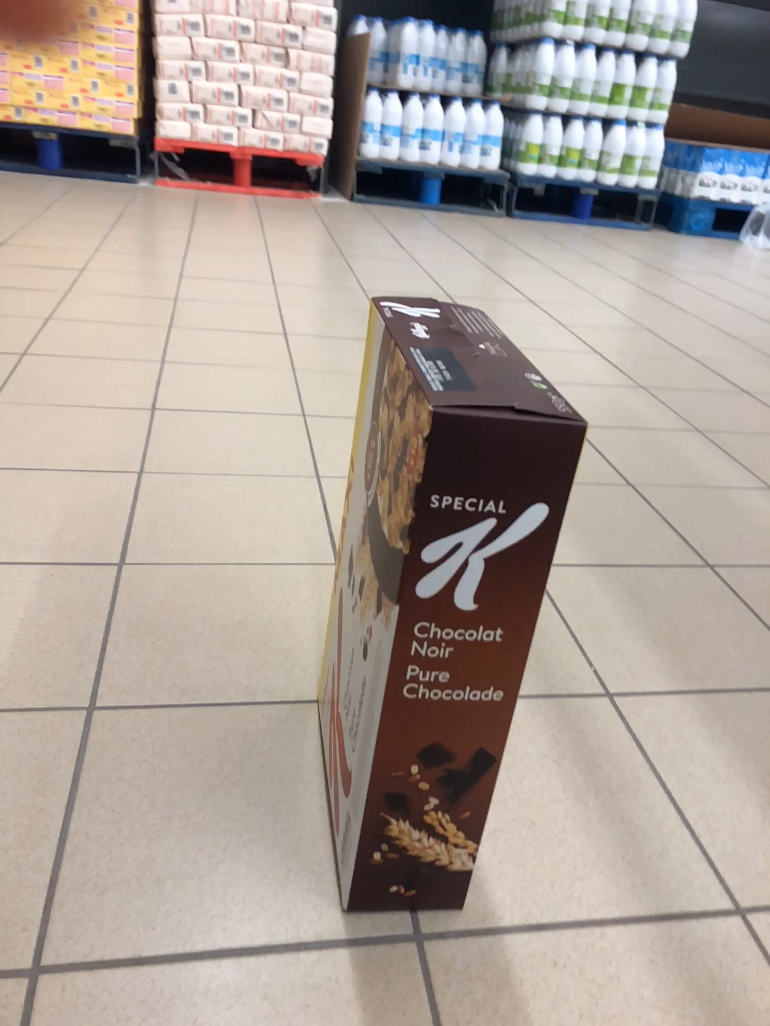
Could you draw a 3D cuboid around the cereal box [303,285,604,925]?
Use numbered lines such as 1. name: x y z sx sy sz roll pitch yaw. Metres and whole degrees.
1. cereal box: 0.014 0.043 0.495 0.070 0.298 0.211 4 25 -13
